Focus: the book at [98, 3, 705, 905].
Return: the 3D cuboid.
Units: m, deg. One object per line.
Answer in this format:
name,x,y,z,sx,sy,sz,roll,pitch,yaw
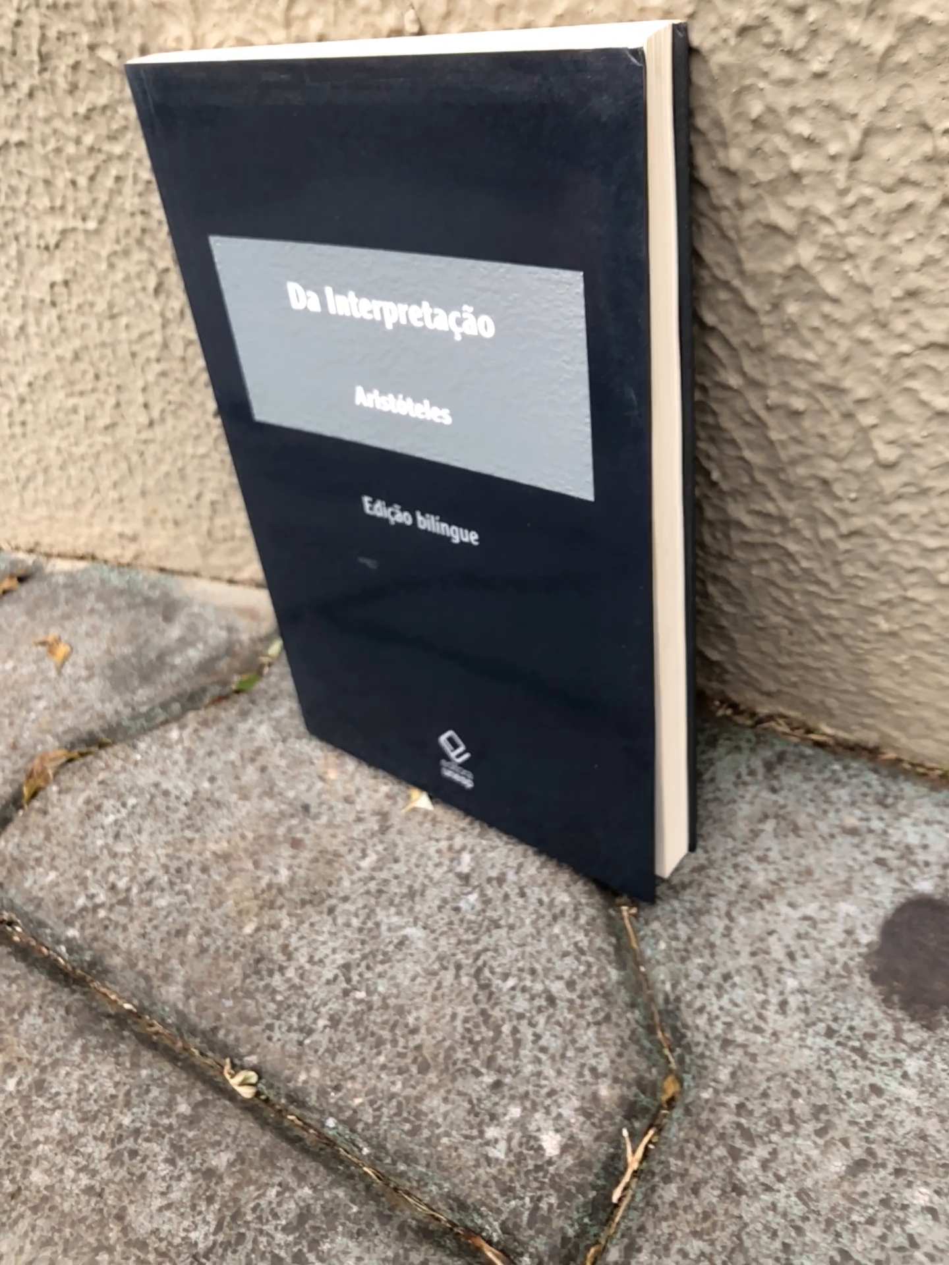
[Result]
book,-0.012,-0.037,0.255,0.133,0.187,0.030,21,43,36
